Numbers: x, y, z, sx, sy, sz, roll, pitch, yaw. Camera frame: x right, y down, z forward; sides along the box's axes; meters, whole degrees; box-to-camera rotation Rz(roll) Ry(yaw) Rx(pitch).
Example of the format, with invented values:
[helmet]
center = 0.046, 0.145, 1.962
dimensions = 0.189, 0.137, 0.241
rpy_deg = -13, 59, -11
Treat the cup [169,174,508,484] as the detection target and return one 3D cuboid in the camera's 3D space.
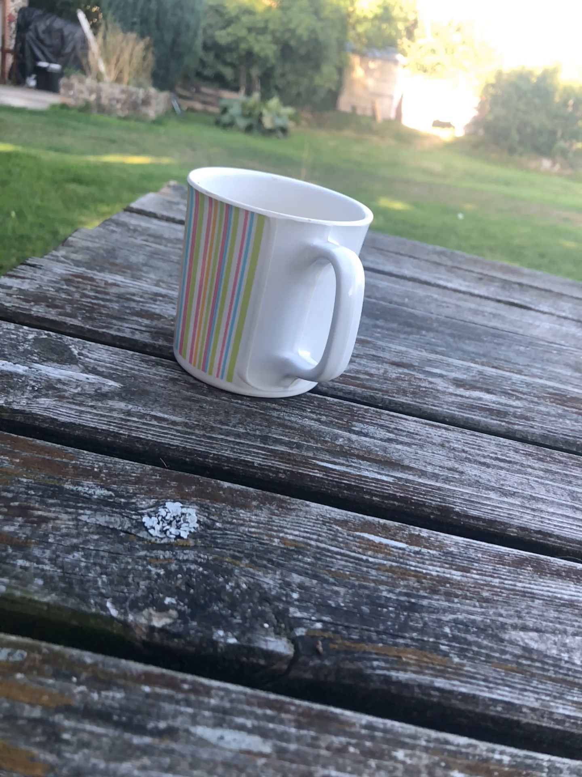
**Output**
[cup]
center = 0.012, -0.039, 0.326
dimensions = 0.099, 0.096, 0.134
rpy_deg = -7, 33, -30
